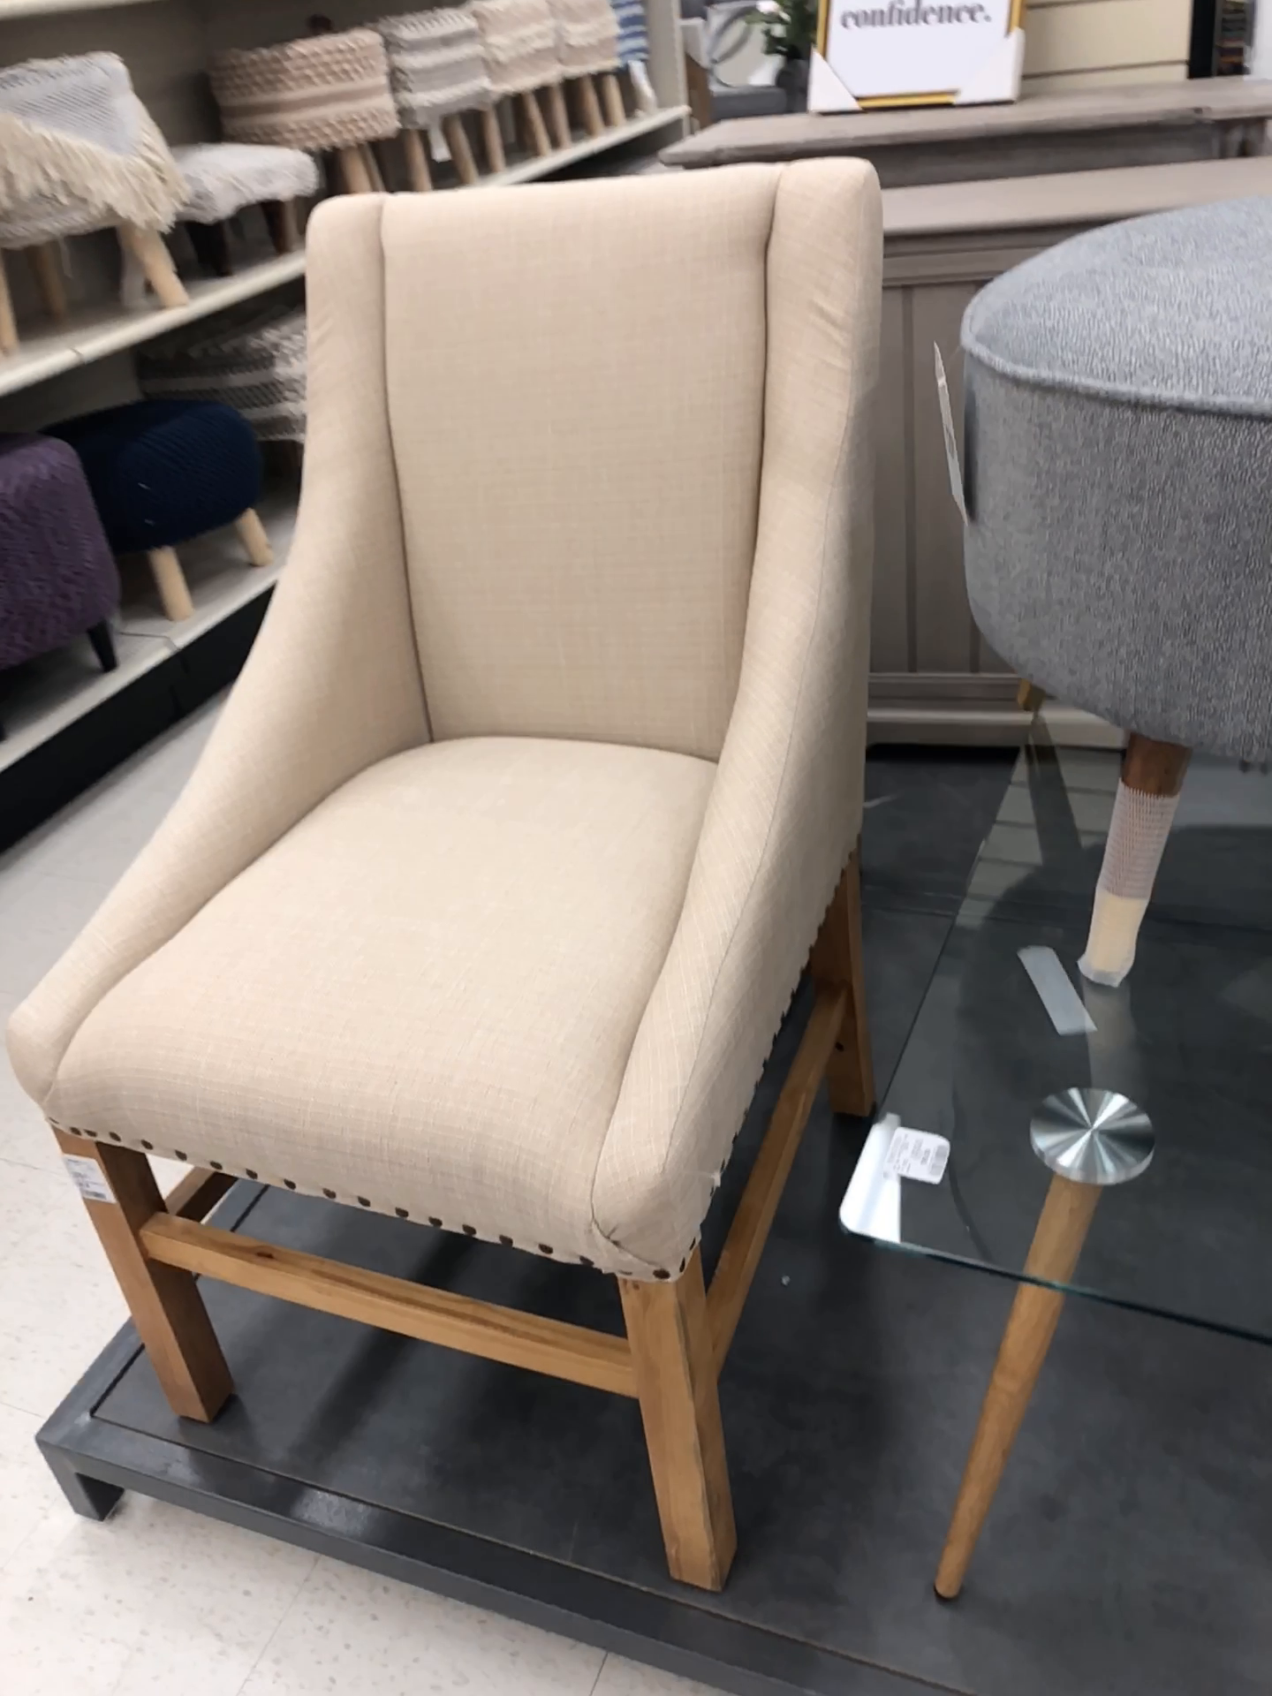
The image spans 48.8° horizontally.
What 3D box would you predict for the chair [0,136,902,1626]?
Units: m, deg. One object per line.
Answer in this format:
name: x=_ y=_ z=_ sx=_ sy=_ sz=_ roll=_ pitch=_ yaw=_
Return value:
chair: x=-0.156 y=-0.004 z=1.207 sx=0.611 sy=0.966 sz=0.652 roll=6 pitch=35 yaw=22
